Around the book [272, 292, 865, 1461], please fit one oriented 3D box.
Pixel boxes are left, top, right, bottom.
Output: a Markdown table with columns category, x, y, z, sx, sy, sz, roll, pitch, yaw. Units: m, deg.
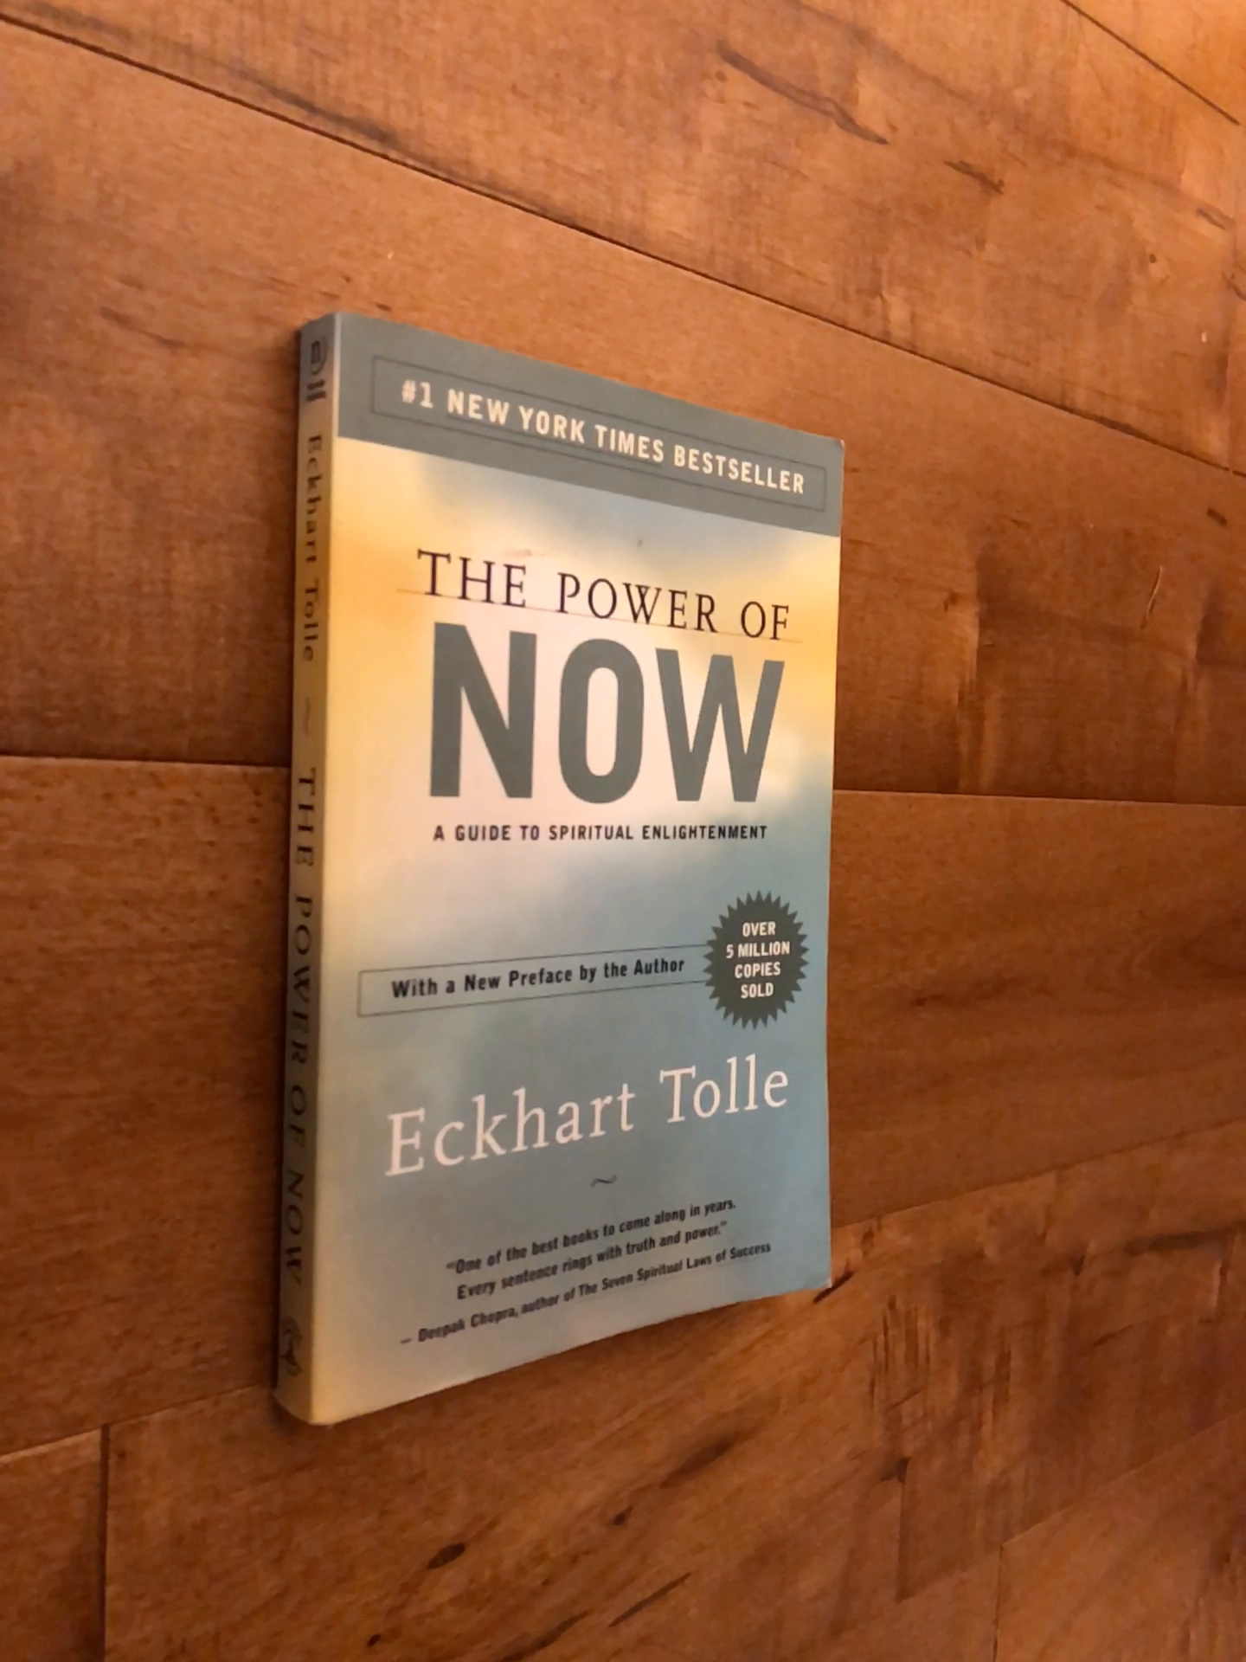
| category | x | y | z | sx | sy | sz | roll | pitch | yaw |
| --- | --- | --- | --- | --- | --- | --- | --- | --- | --- |
| book | -0.006 | 0.009 | 0.318 | 0.147 | 0.030 | 0.222 | -1 | 92 | -40 |
